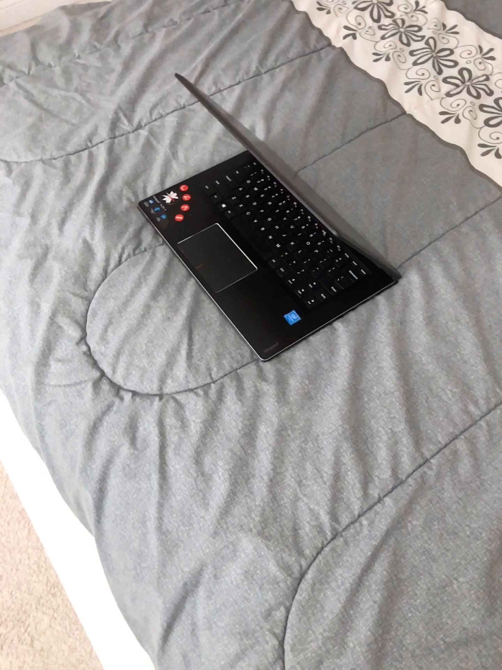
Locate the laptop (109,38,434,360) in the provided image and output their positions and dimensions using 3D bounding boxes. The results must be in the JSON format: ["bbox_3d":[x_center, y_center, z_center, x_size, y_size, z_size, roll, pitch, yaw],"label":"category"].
[{"bbox_3d":[0.014,-0.173,0.671,0.214,0.168,0.305,-30,63,-17],"label":"laptop"}]
